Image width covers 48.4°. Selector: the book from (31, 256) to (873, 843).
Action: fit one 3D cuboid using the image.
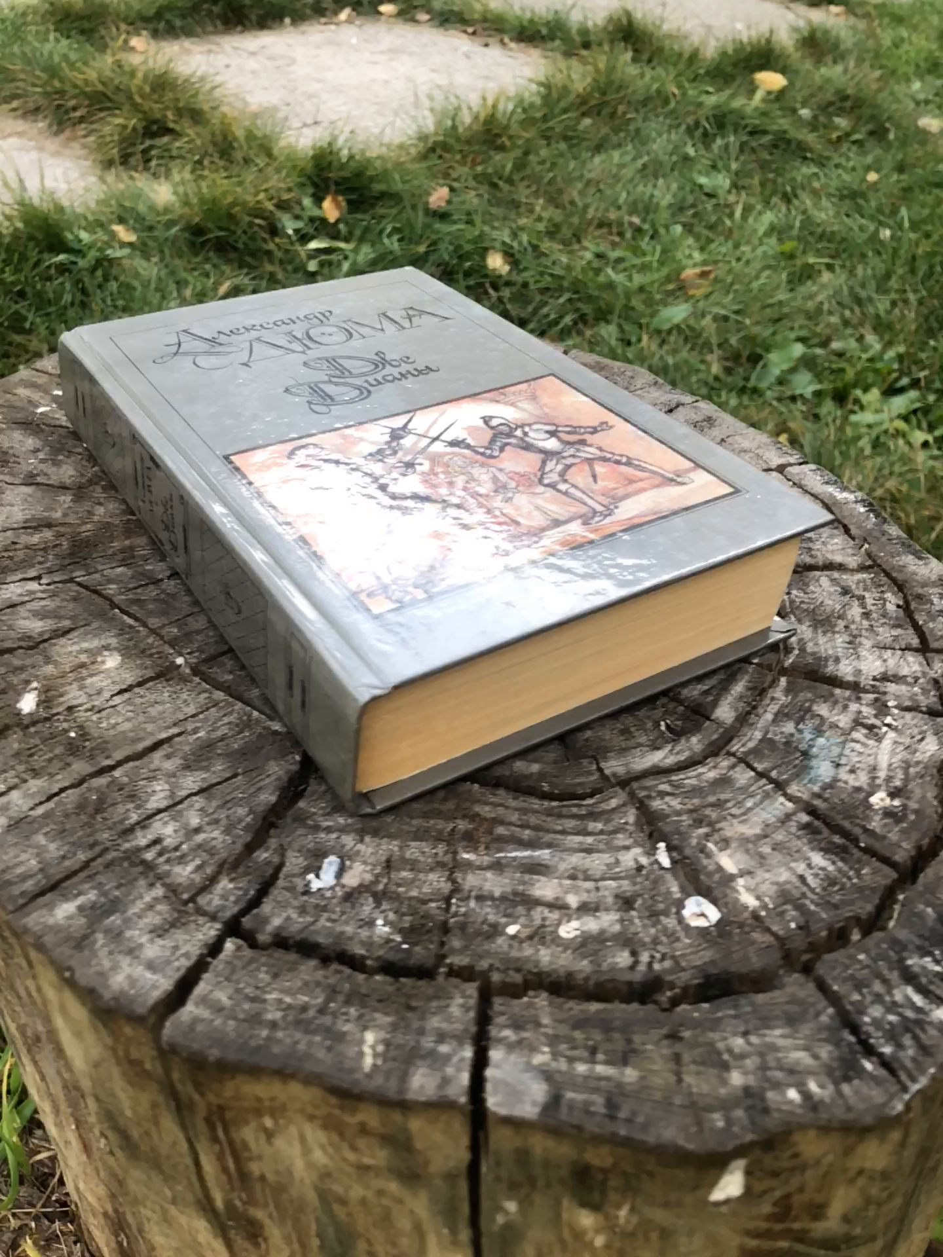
[{"bbox_3d":[-0.020,-0.047,0.292,0.140,0.030,0.204,-21,44,-26],"label":"book"}]
